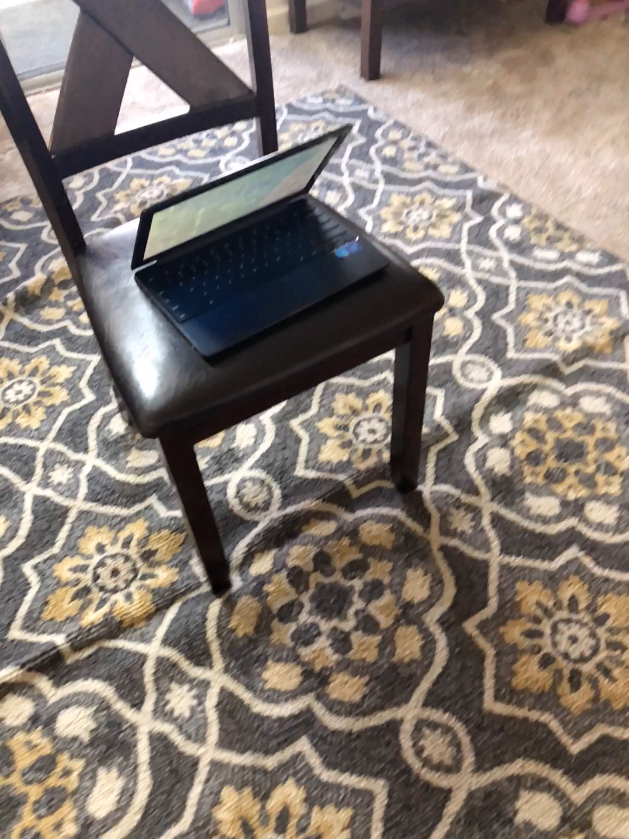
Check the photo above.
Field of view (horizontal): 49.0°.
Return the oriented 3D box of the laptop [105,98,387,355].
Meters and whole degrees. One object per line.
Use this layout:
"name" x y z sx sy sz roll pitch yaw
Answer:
"laptop" -0.077 -0.245 0.848 0.263 0.155 0.192 -29 54 -21
